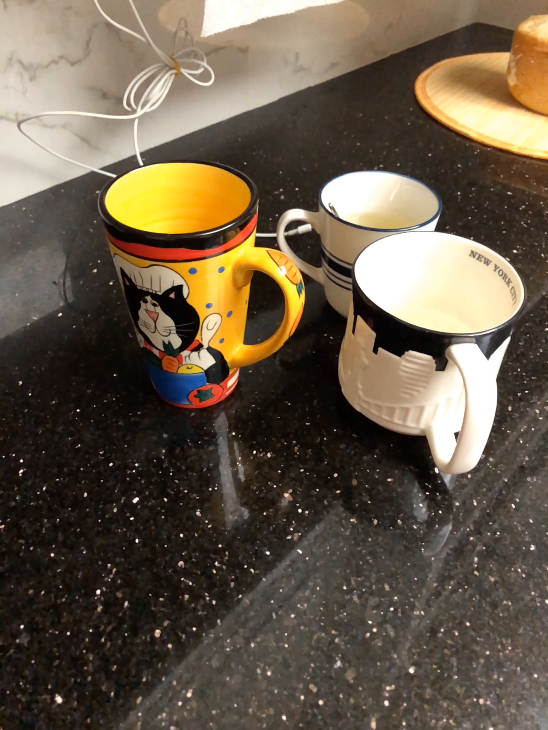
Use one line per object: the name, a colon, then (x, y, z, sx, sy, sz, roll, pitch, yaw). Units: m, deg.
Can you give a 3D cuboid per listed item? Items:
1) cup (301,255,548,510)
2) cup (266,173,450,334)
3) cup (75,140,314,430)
cup: (0.084, 0.004, 0.375, 0.120, 0.070, 0.151, -1, 44, -3)
cup: (0.059, -0.085, 0.456, 0.120, 0.080, 0.080, 5, 44, 3)
cup: (-0.042, -0.048, 0.369, 0.100, 0.129, 0.080, 22, 48, 20)
